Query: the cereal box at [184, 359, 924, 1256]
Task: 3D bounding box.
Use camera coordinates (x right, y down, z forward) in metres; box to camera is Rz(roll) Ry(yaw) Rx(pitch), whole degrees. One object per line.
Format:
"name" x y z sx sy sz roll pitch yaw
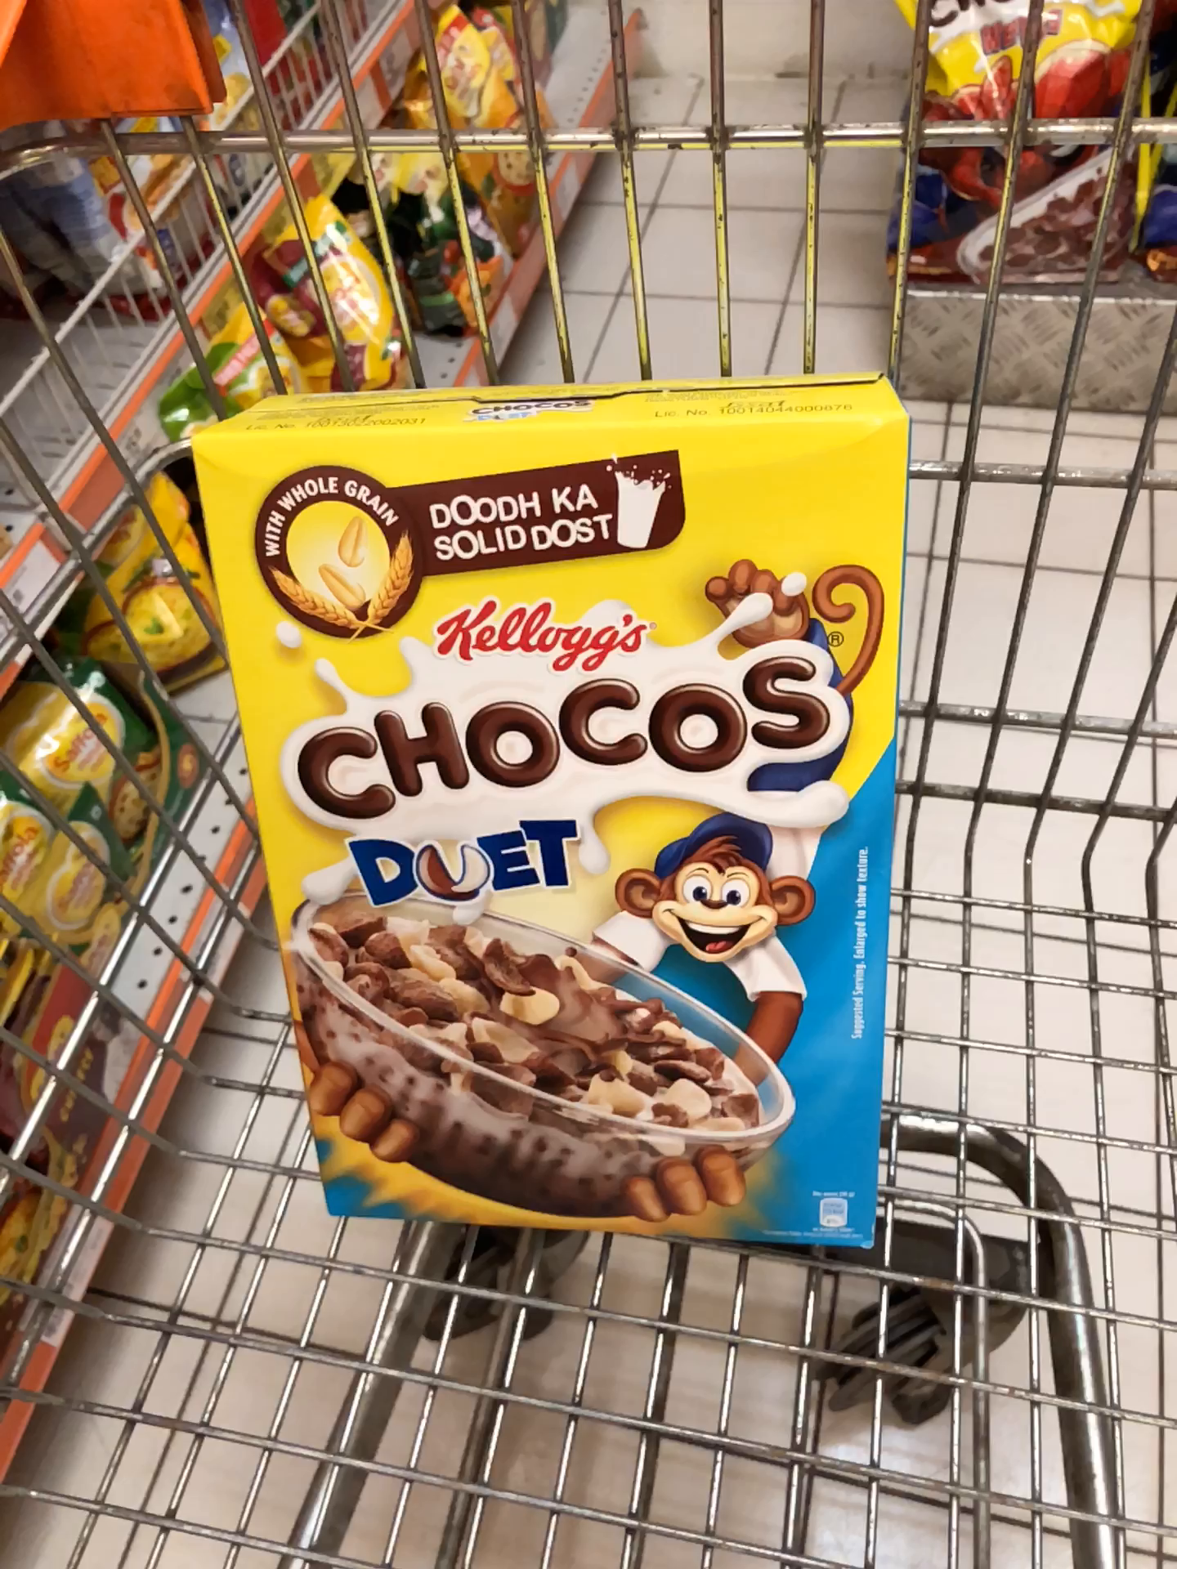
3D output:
"cereal box" -0.001 0.013 0.398 0.180 0.259 0.070 1 24 8
